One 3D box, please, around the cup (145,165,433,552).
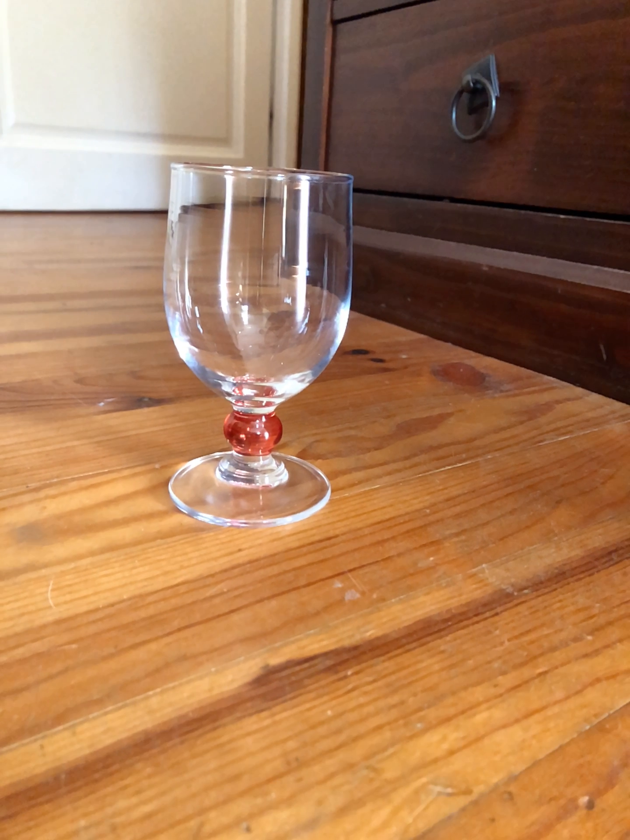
[{"bbox_3d":[-0.017,-0.032,0.285,0.088,0.132,0.084,2,20,-1],"label":"cup"}]
